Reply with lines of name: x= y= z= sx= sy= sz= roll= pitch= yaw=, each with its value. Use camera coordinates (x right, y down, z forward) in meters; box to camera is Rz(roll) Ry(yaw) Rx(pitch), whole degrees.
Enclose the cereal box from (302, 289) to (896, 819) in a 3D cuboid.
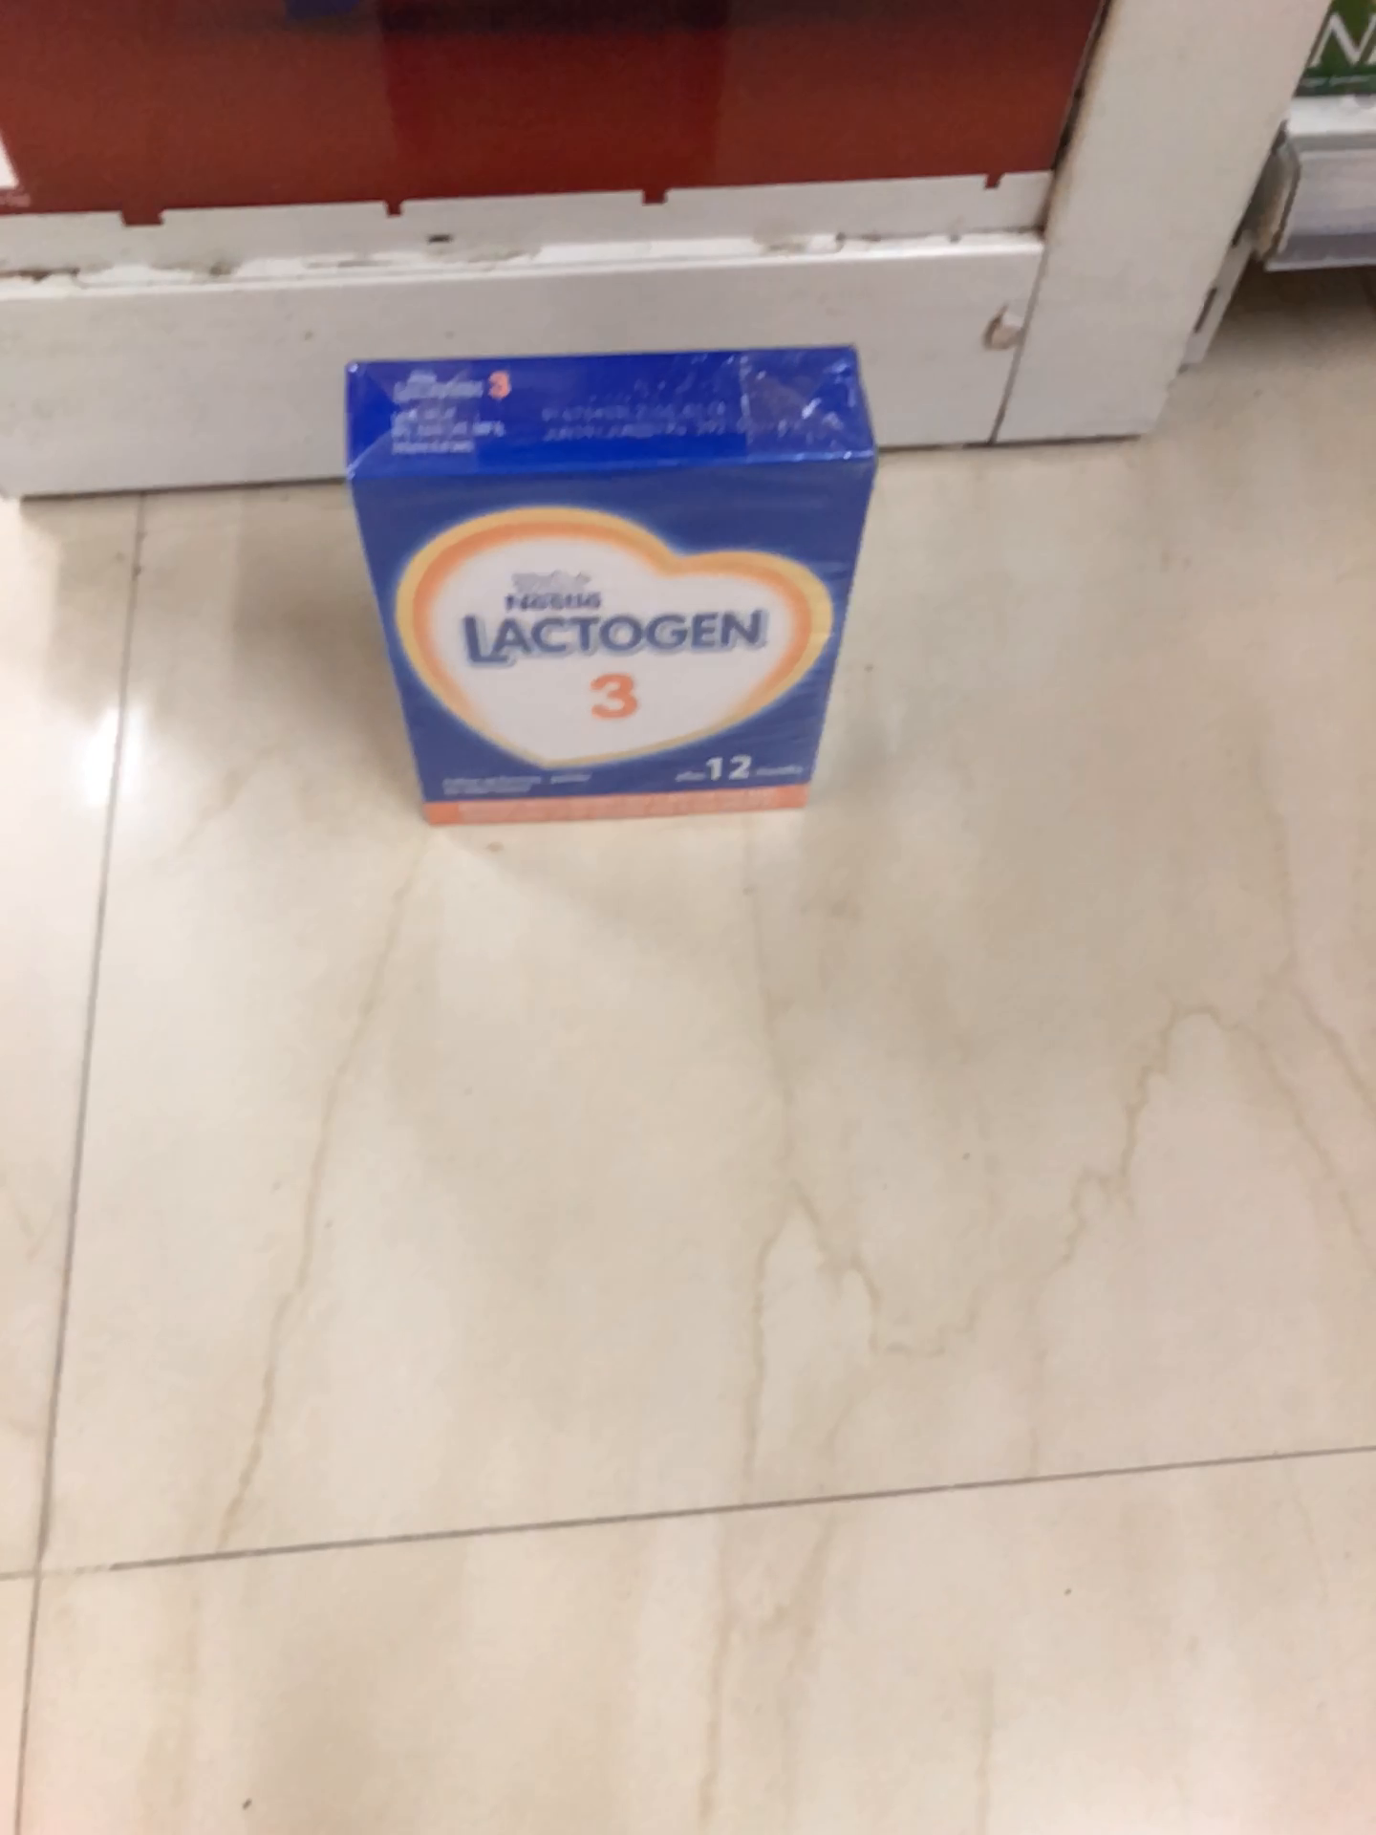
cereal box: x=-0.028 y=-0.110 z=0.511 sx=0.160 sy=0.189 sz=0.060 roll=-3 pitch=64 yaw=-4
